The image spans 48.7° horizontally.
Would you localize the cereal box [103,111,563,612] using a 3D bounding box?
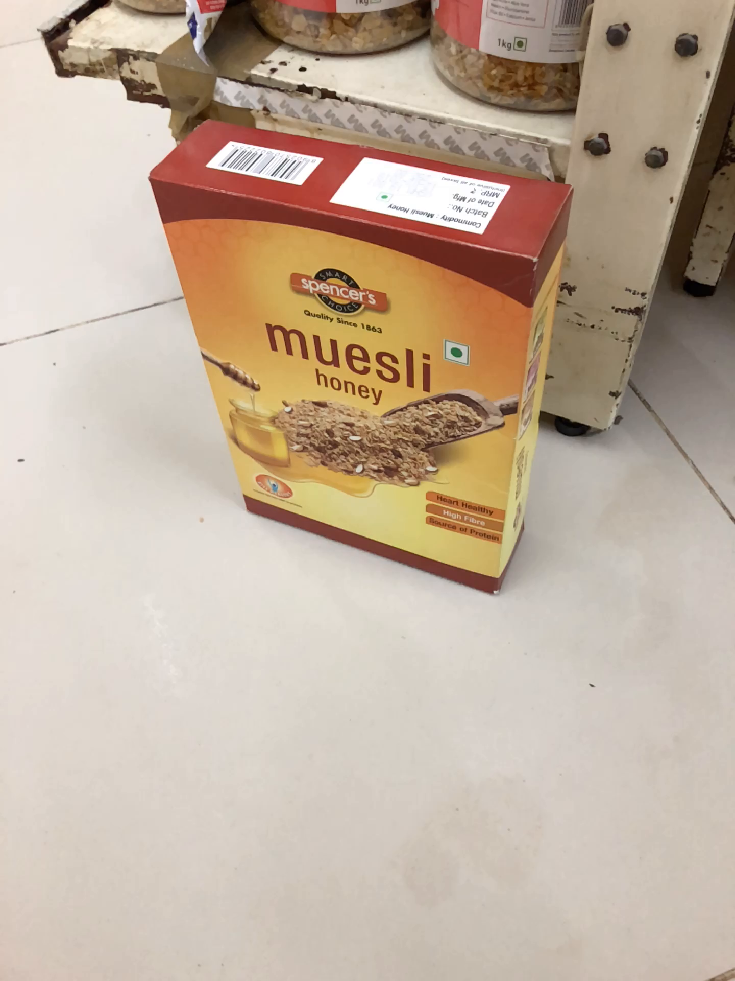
[{"bbox_3d":[-0.008,-0.054,0.446,0.190,0.259,0.060,17,55,19],"label":"cereal box"}]
